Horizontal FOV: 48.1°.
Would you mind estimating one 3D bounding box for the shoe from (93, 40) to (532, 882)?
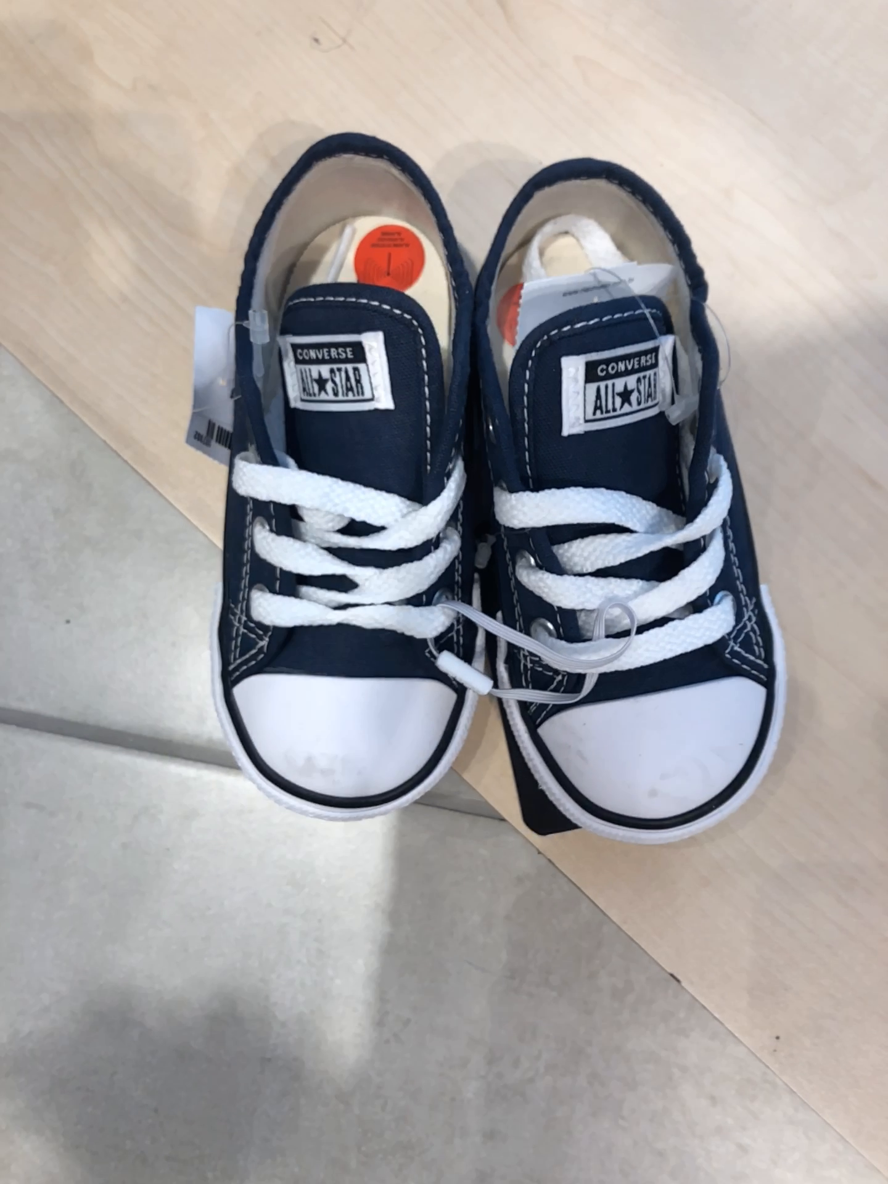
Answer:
[{"bbox_3d":[-0.025,-0.028,0.234,0.080,0.060,0.170,3,87,2],"label":"shoe"}]

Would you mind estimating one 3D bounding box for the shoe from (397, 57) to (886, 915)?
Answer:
[{"bbox_3d":[0.040,-0.022,0.235,0.080,0.060,0.170,-7,87,1],"label":"shoe"}]
